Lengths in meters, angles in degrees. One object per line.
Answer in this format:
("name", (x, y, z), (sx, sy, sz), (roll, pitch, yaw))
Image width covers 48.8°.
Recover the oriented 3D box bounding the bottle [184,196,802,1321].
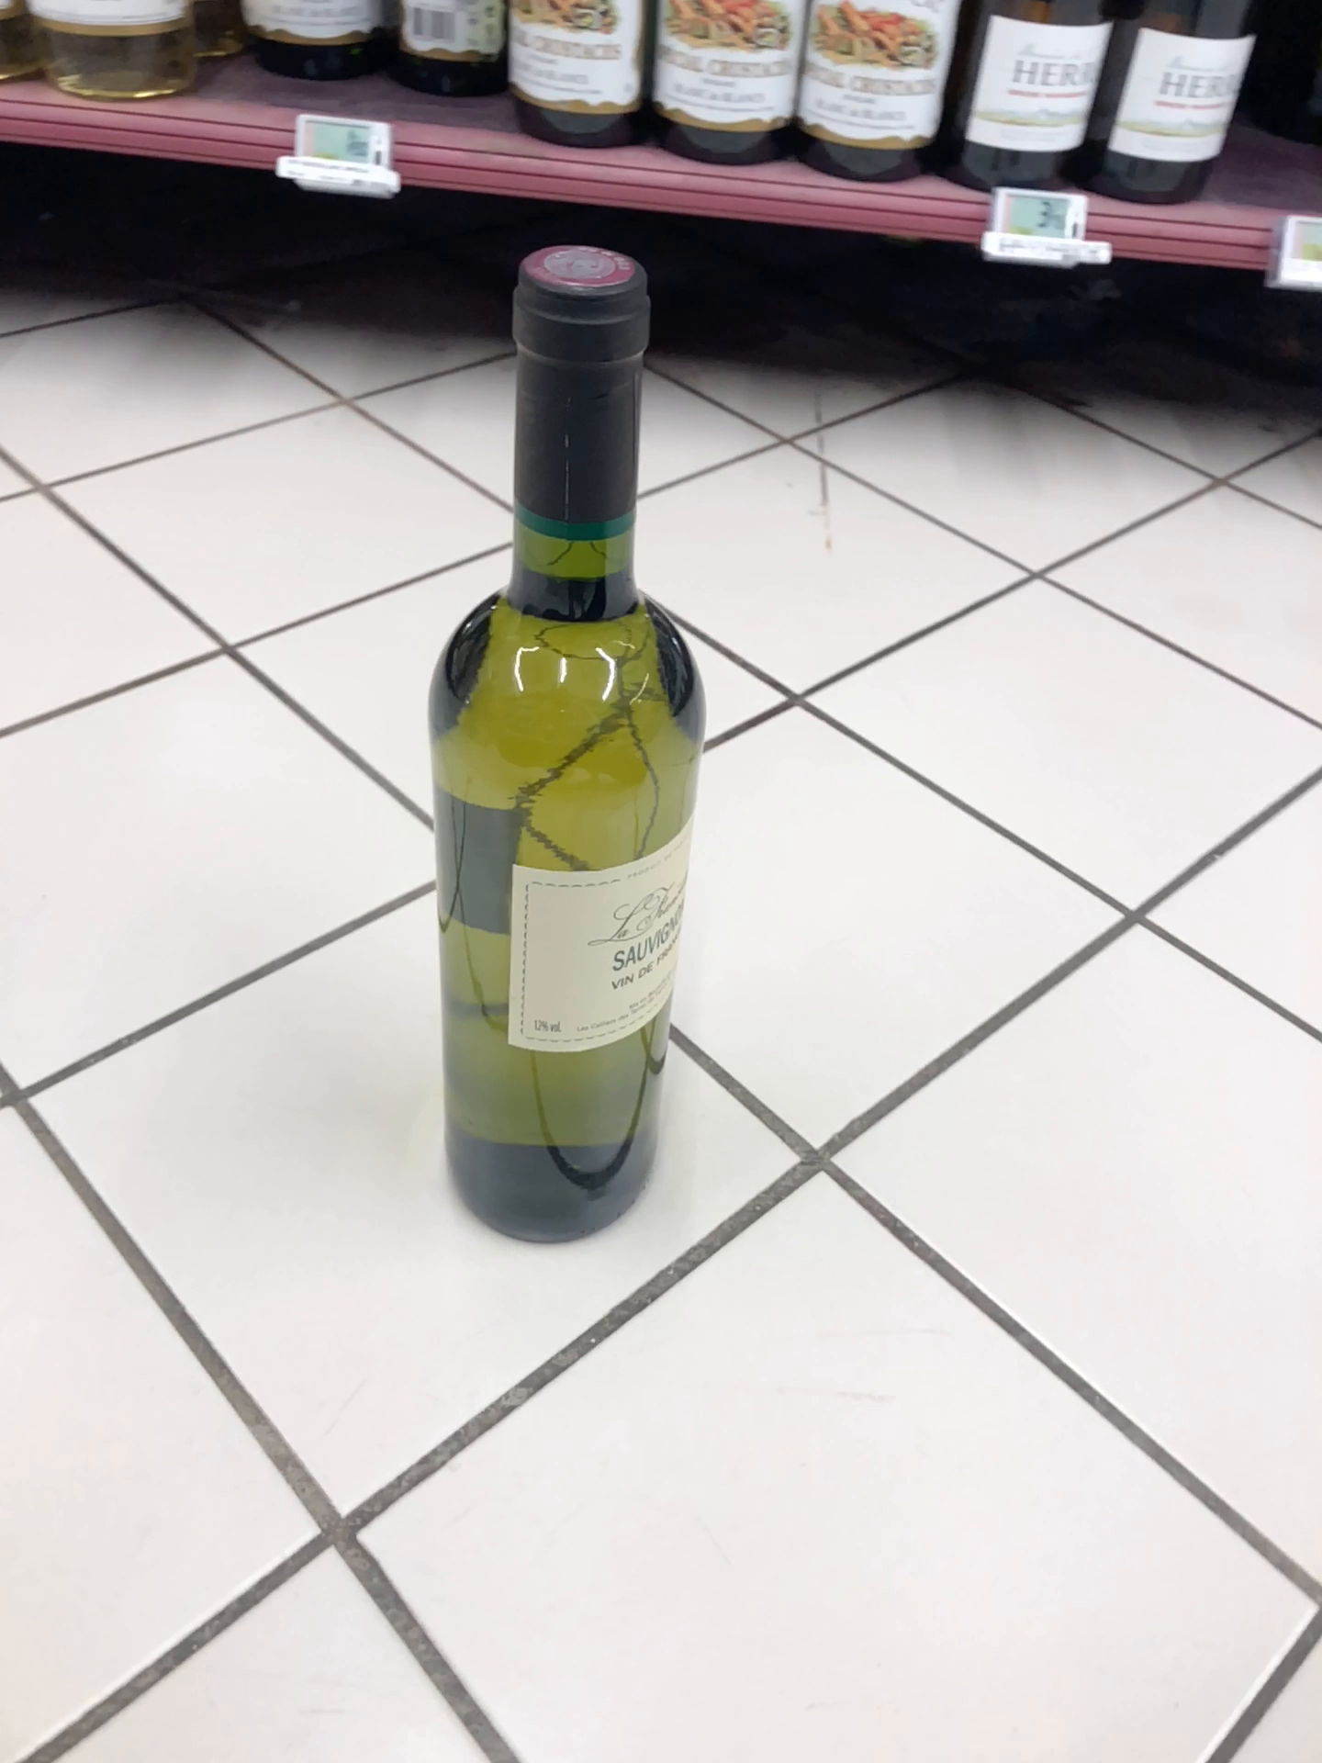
("bottle", (-0.045, -0.015, 0.399), (0.090, 0.288, 0.091), (3, 42, -3))
